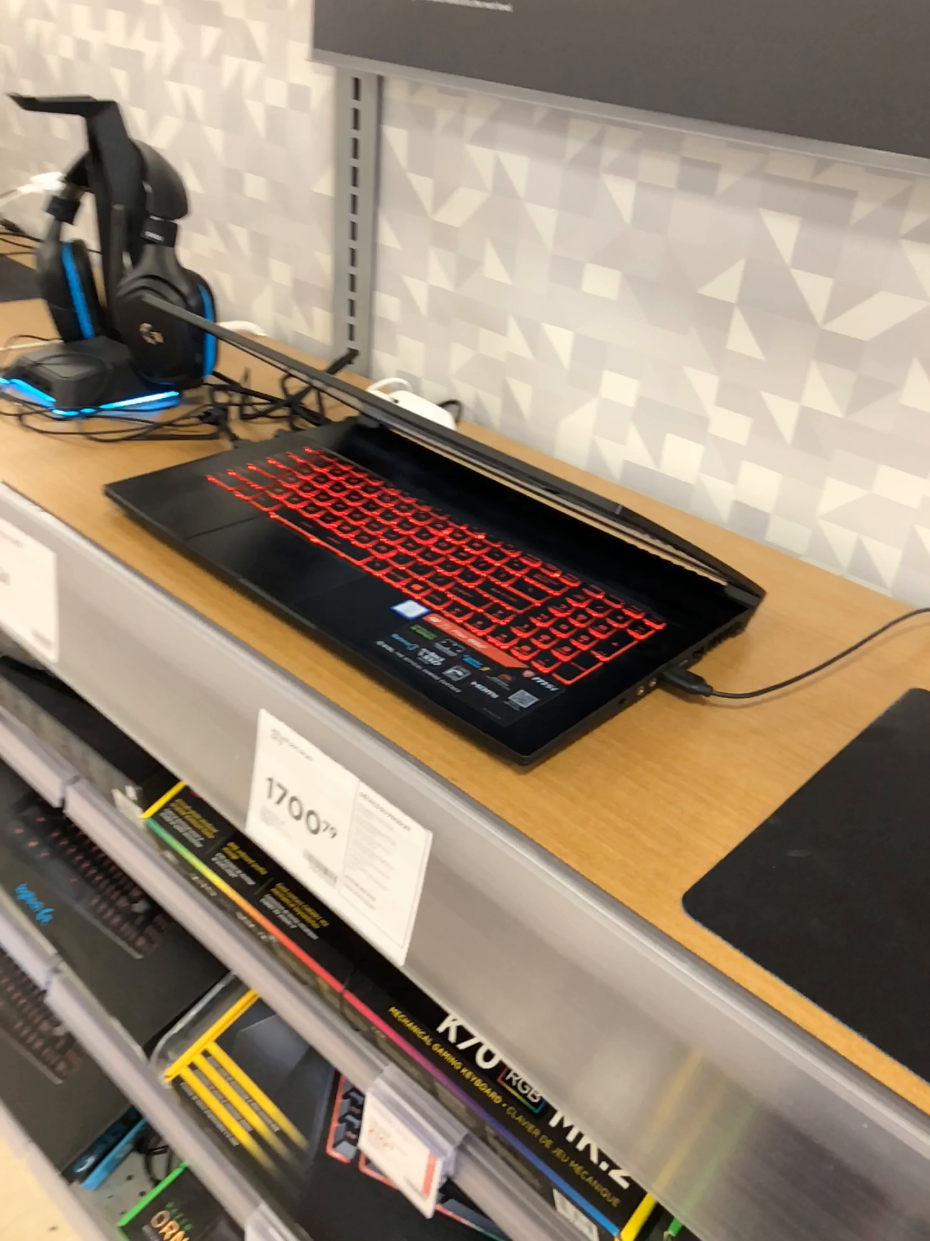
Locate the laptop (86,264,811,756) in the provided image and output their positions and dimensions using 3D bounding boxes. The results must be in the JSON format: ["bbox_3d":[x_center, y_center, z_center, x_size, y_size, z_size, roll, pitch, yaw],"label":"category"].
[{"bbox_3d":[-0.025,-0.110,0.673,0.394,0.133,0.248,30,39,33],"label":"laptop"}]
